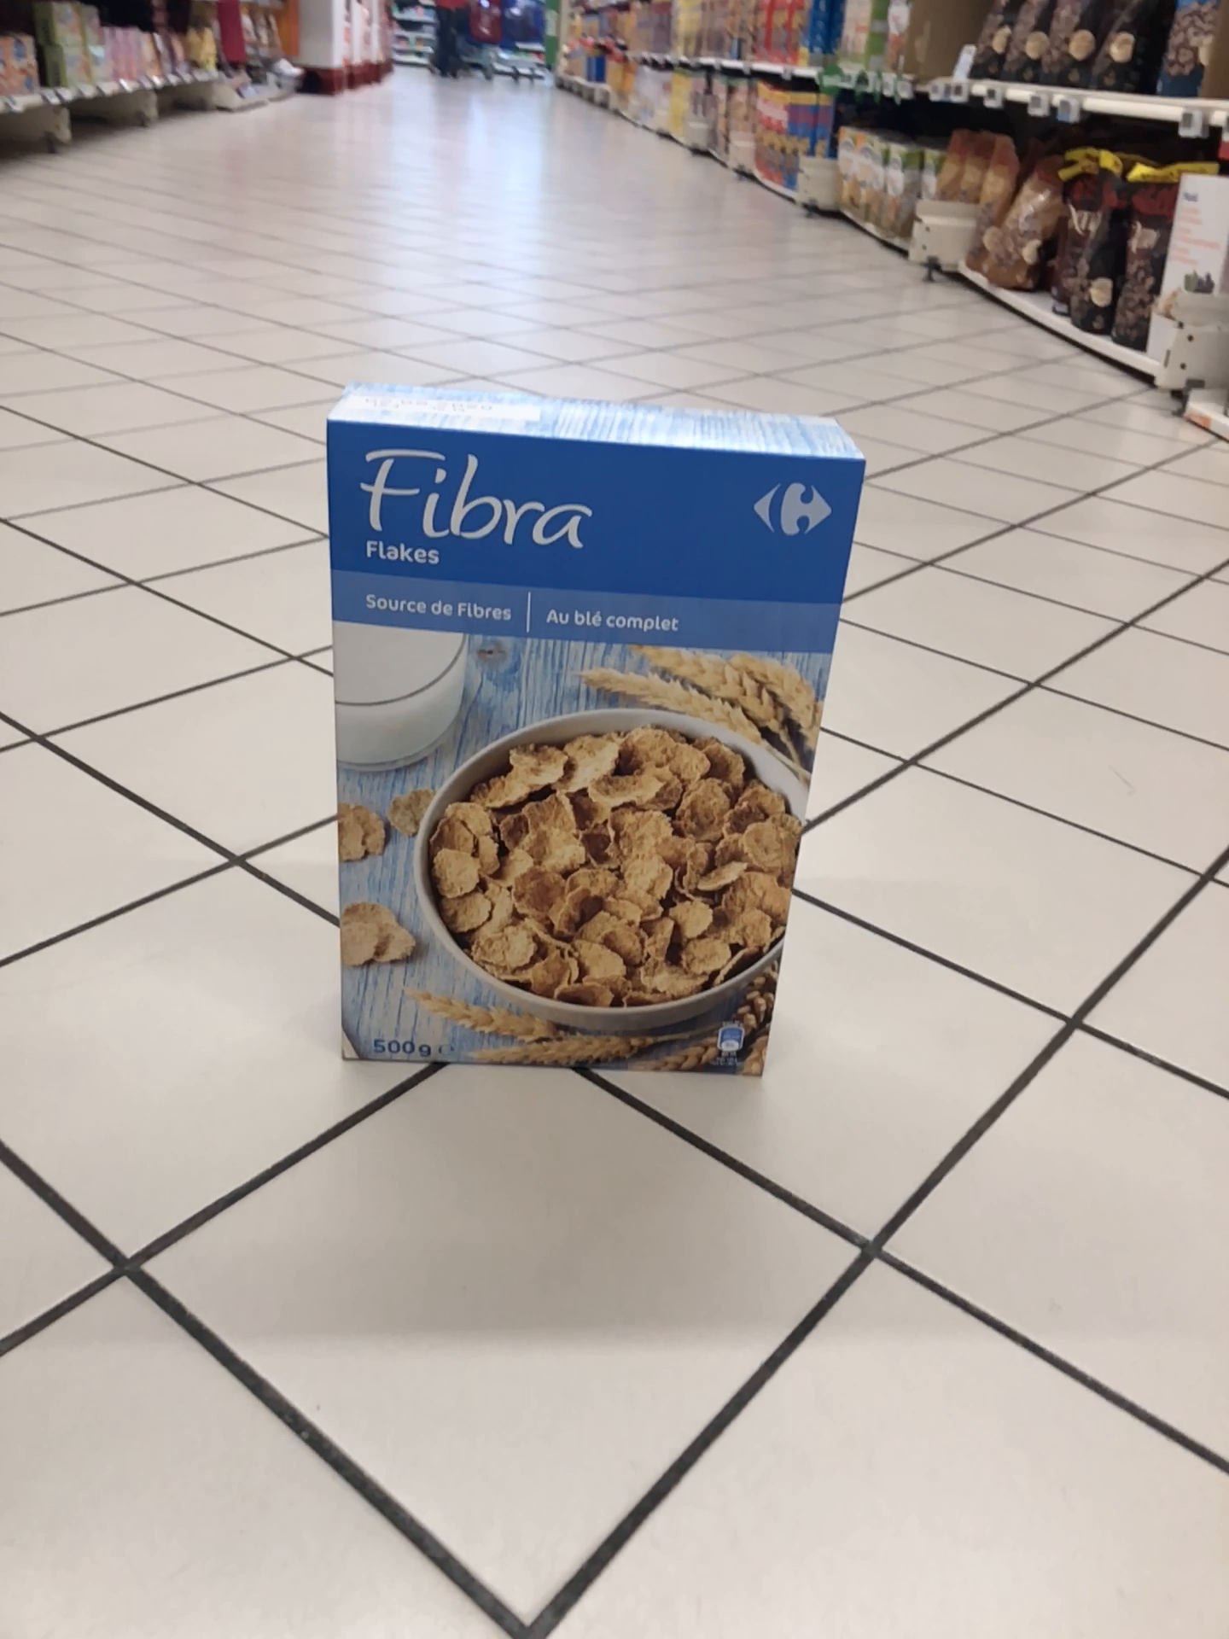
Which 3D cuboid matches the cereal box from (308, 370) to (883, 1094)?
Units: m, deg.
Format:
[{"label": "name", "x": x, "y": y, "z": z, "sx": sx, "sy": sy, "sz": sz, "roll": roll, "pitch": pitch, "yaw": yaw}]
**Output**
[{"label": "cereal box", "x": -0.018, "y": -0.025, "z": 0.566, "sx": 0.200, "sy": 0.288, "sz": 0.070, "roll": 3, "pitch": 28, "yaw": -4}]
